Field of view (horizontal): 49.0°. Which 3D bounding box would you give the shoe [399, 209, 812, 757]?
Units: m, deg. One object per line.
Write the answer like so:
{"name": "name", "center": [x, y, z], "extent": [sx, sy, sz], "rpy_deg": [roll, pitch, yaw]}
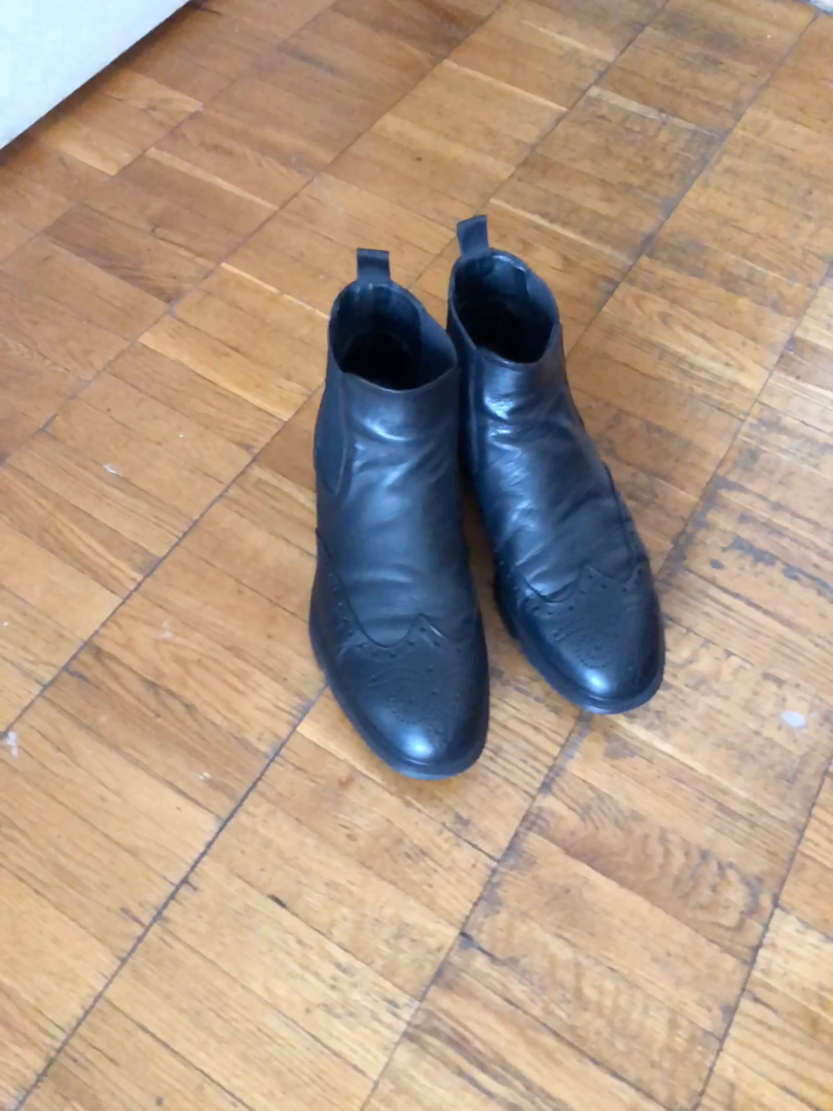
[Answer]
{"name": "shoe", "center": [0.091, -0.052, 0.571], "extent": [0.110, 0.139, 0.301], "rpy_deg": [-15, 61, -12]}

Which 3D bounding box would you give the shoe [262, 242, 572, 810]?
{"name": "shoe", "center": [-0.015, -0.025, 0.547], "extent": [0.110, 0.139, 0.301], "rpy_deg": [-8, 60, -8]}
